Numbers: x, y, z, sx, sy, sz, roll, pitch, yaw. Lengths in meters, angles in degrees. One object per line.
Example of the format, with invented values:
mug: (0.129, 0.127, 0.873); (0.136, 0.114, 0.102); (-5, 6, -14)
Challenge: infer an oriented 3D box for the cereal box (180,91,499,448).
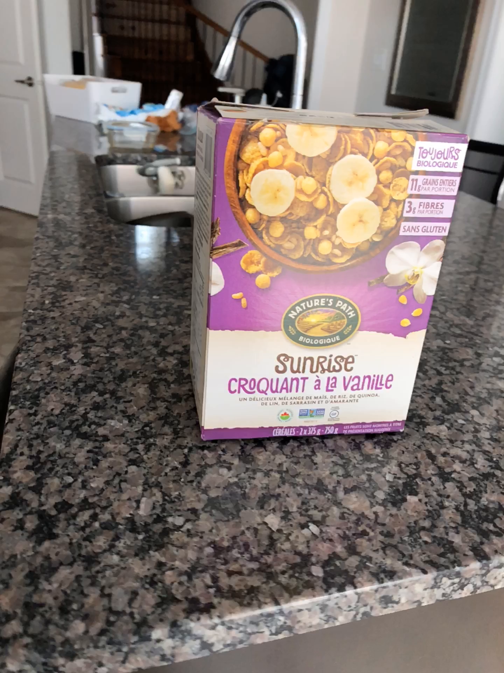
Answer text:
cereal box: (0.043, -0.049, 0.420); (0.180, 0.229, 0.110); (-1, 26, -12)
